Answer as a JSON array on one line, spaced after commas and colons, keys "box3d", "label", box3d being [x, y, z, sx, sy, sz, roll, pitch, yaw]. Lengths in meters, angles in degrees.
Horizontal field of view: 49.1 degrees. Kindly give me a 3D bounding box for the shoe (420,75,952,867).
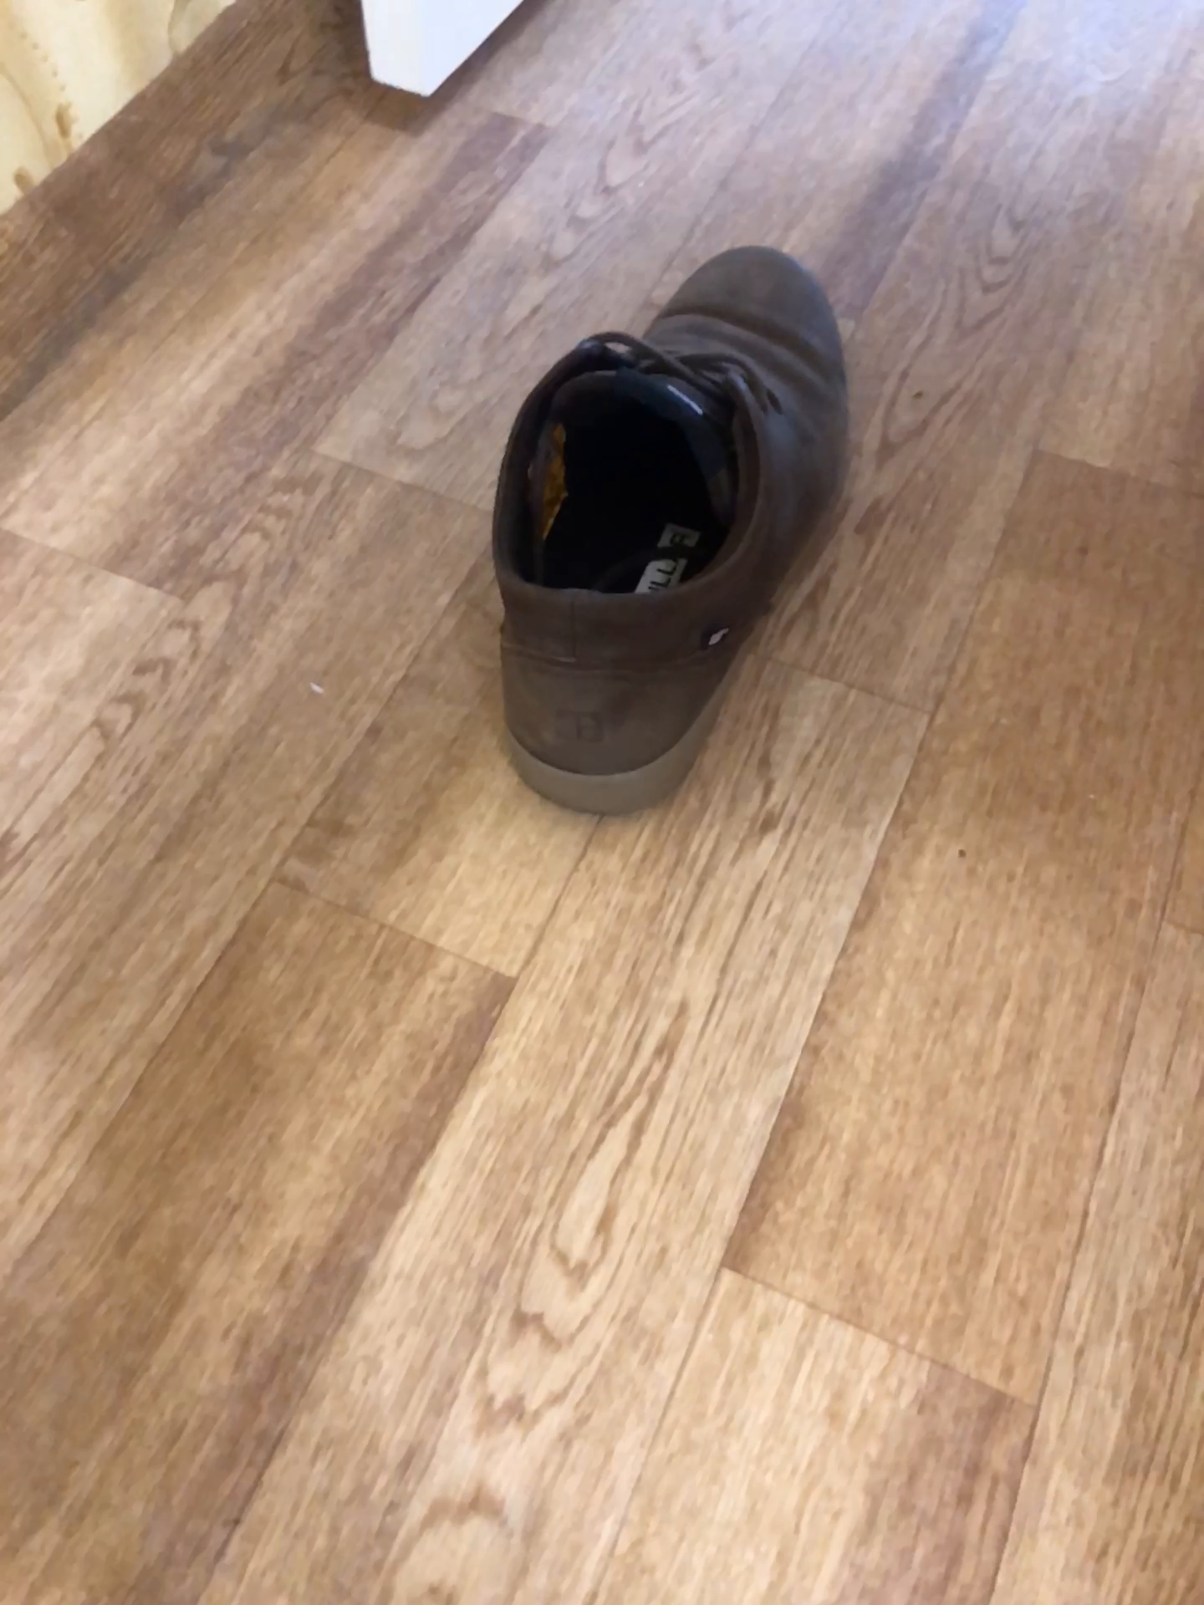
[{"box3d": [0.039, -0.129, 0.480, 0.100, 0.110, 0.271, 17, 60, 9], "label": "shoe"}]
